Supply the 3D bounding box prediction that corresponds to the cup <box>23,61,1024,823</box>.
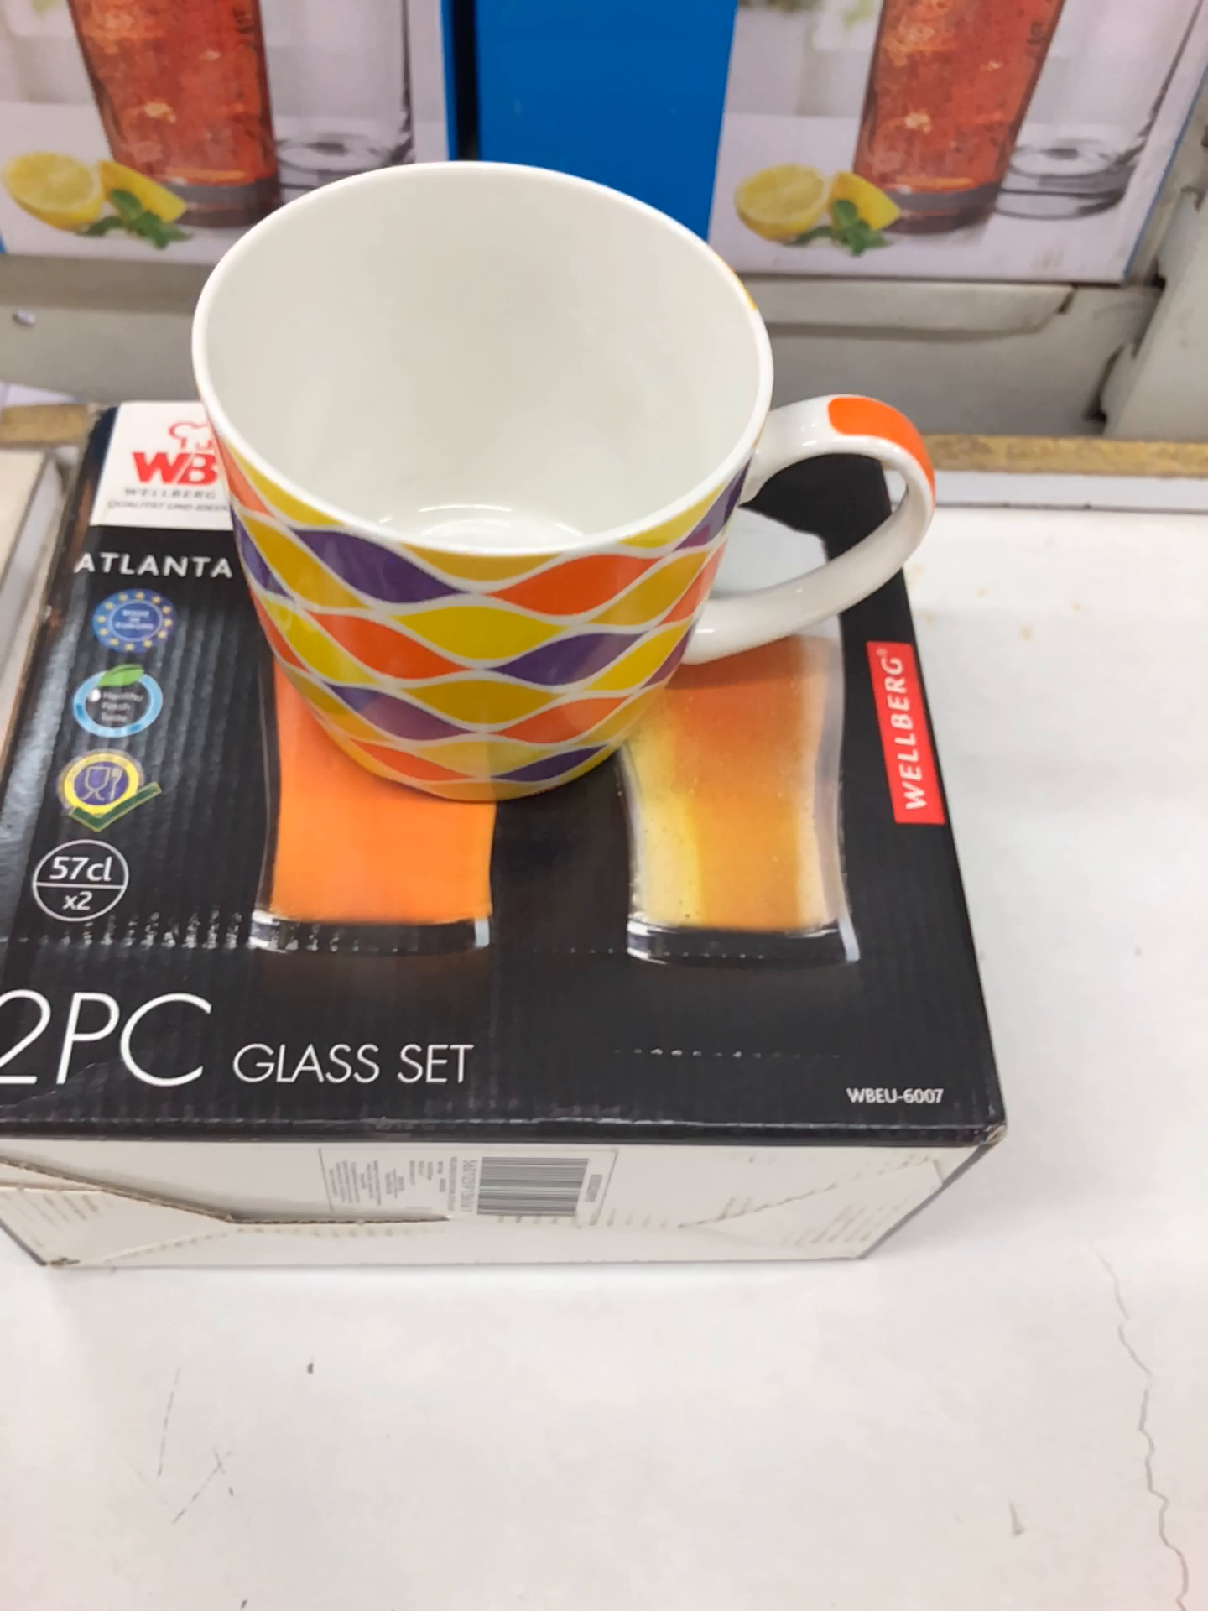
[{"bbox_3d":[-0.013,-0.060,0.239,0.130,0.089,0.091,-1,56,-5],"label":"cup"}]
